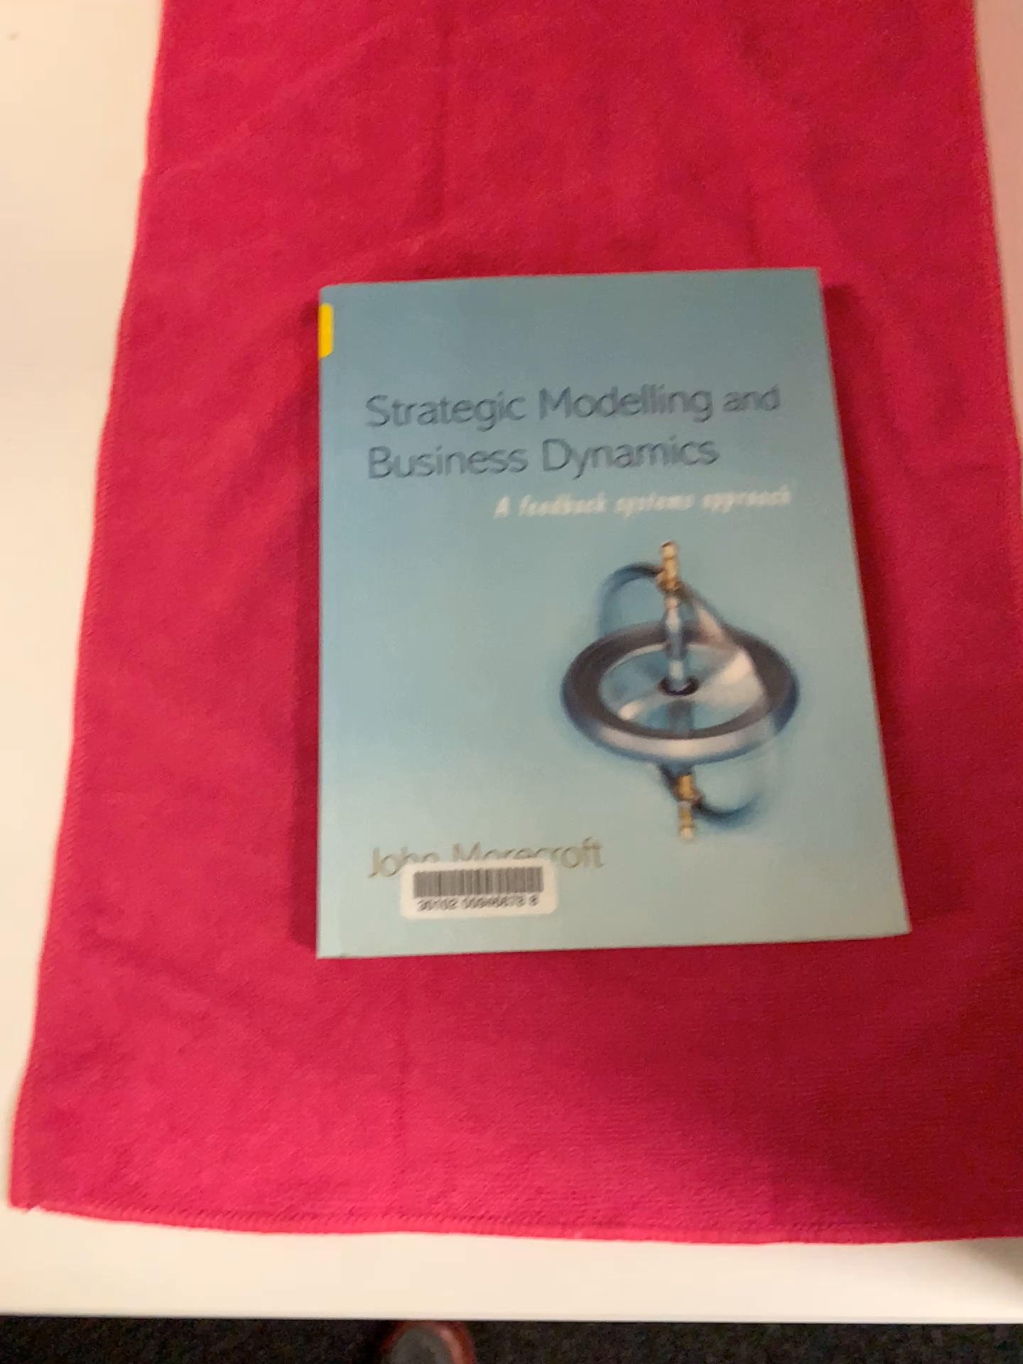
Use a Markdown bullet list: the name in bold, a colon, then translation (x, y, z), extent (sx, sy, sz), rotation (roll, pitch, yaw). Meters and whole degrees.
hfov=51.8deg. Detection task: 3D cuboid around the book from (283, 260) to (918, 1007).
- **book**: translation (0.021, -0.023, 0.367), extent (0.193, 0.033, 0.251), rotation (-3, 76, 0)
